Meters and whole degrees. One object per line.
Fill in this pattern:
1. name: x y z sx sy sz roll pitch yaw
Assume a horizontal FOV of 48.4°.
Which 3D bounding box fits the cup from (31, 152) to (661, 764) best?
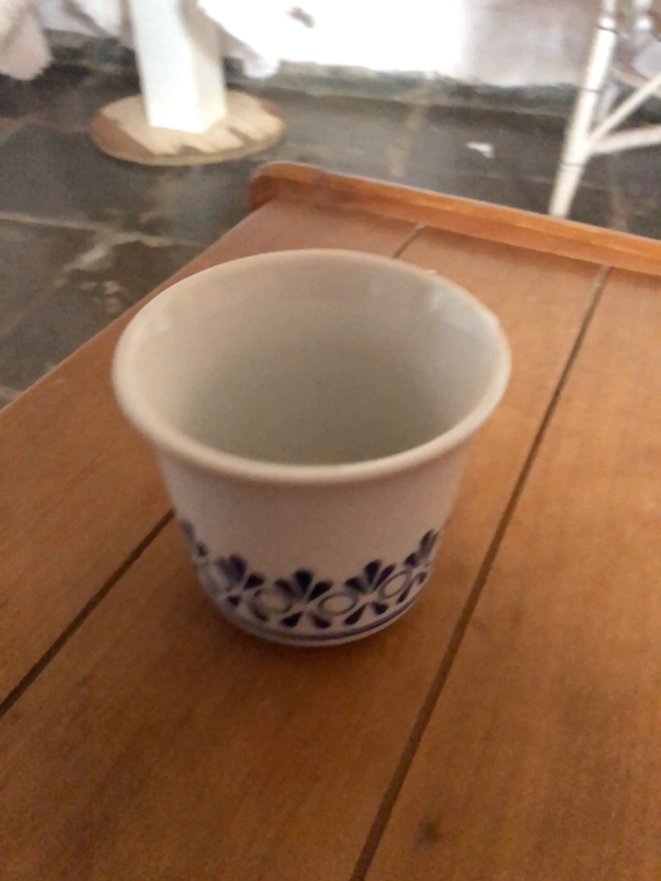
1. cup: 0.011 -0.009 0.204 0.131 0.079 0.100 -31 51 -30
